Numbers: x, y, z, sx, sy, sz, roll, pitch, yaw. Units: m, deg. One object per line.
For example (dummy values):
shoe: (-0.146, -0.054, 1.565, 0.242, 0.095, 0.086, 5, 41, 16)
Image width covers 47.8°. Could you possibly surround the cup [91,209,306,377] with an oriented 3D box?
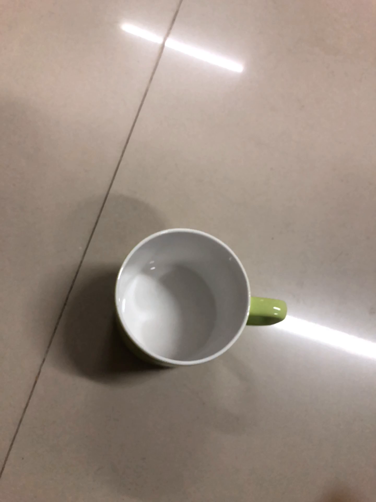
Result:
cup: (0.003, 0.030, 0.242, 0.100, 0.080, 0.070, 7, 72, -8)
